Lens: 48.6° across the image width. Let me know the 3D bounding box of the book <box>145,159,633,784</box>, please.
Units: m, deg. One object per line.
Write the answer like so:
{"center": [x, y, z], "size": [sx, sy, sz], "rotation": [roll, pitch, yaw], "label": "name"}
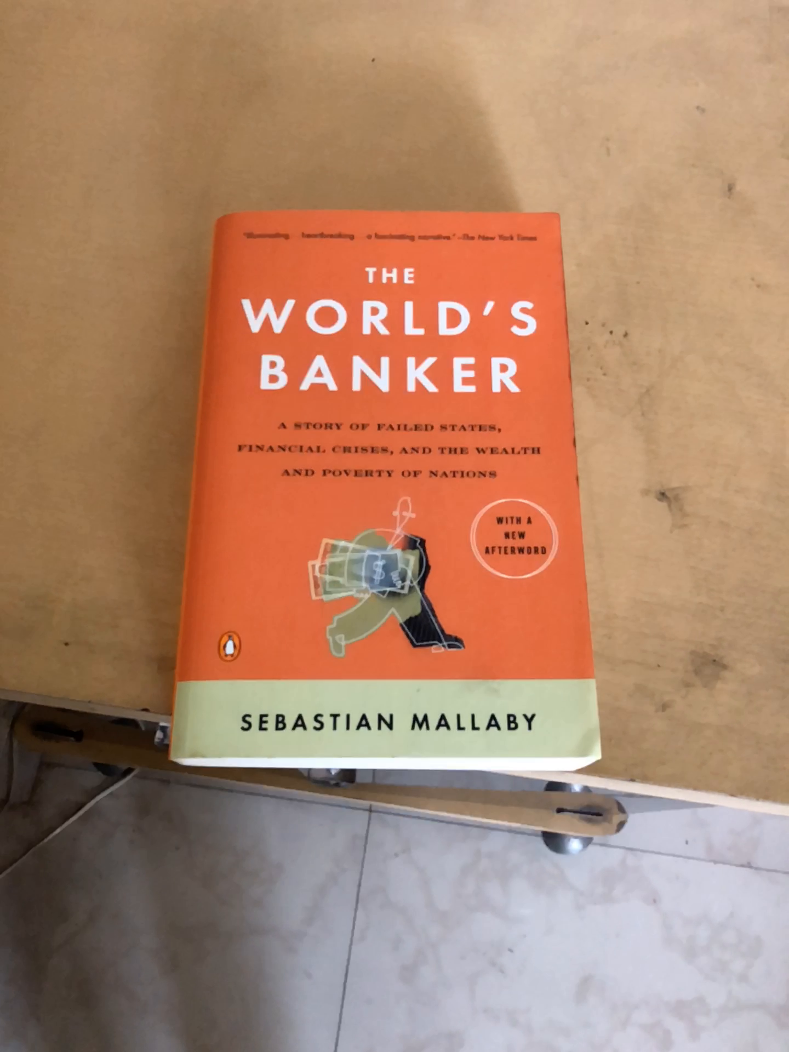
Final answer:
{"center": [0.000, -0.027, 0.303], "size": [0.140, 0.030, 0.220], "rotation": [1, 70, -1], "label": "book"}
